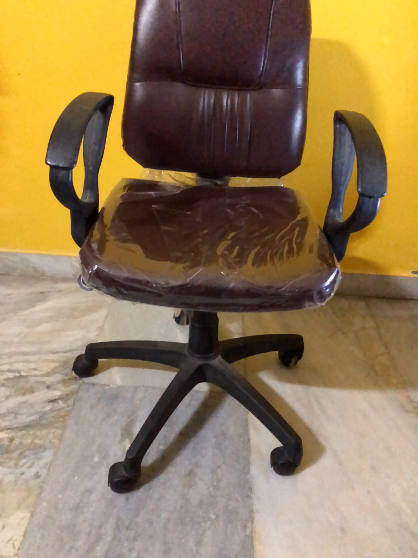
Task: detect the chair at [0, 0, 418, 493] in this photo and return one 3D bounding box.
[{"bbox_3d":[0.001,-0.164,0.970,0.690,0.973,0.685,1,32,-4],"label":"chair"}]
